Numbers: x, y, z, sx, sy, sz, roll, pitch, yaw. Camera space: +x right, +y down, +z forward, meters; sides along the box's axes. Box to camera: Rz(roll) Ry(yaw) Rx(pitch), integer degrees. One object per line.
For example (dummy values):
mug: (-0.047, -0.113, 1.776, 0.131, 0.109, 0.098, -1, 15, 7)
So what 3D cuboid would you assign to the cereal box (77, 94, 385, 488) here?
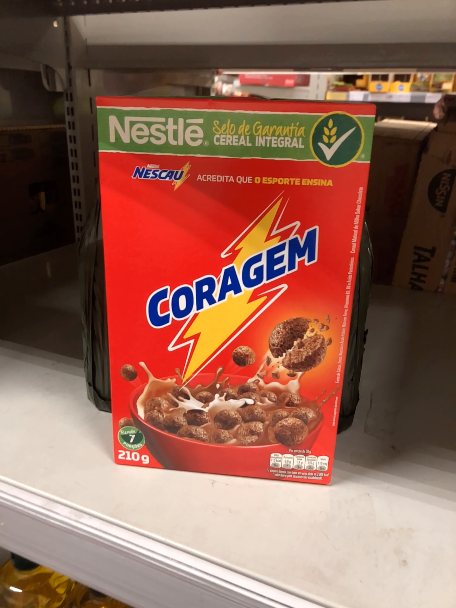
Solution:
cereal box: (0.001, -0.007, 0.344, 0.170, 0.249, 0.060, 3, 19, 7)
